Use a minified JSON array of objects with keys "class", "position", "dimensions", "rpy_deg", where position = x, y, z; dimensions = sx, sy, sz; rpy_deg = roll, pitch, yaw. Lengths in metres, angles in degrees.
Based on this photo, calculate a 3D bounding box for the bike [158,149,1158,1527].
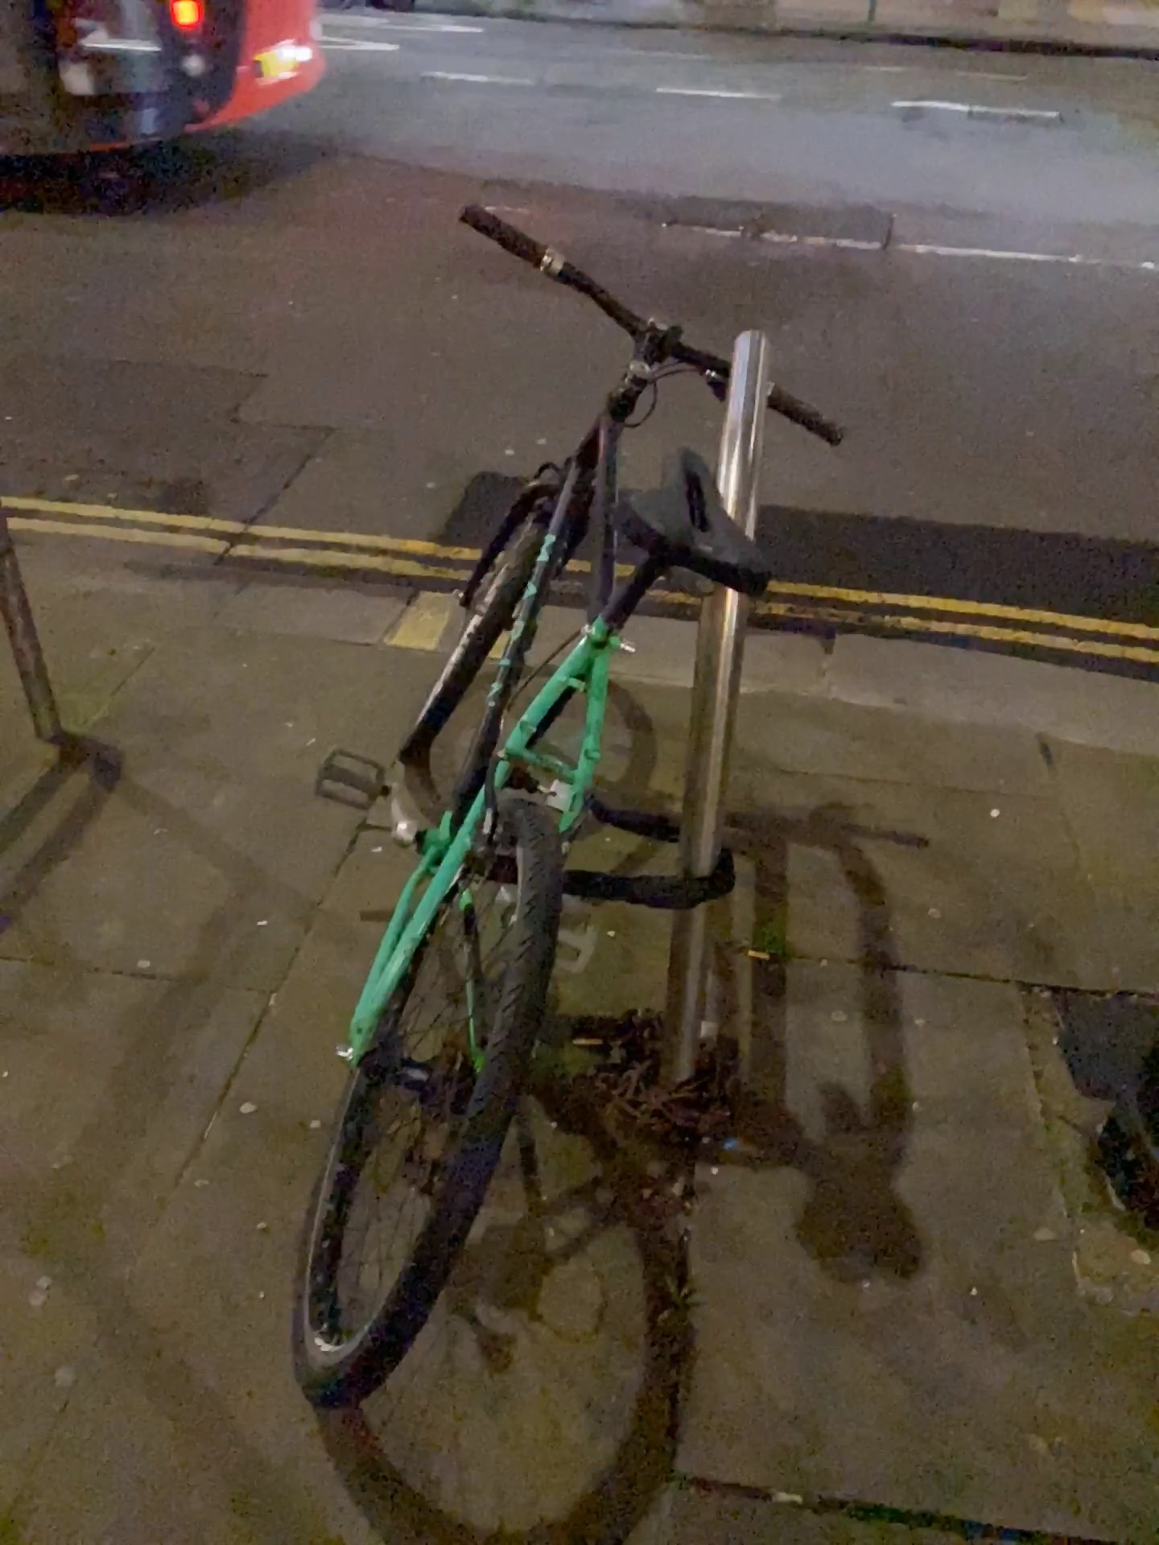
[{"class":"bike","position":[0.119,-0.135,1.607],"dimensions":[0.638,1.014,1.697],"rpy_deg":[2,36,1]}]
